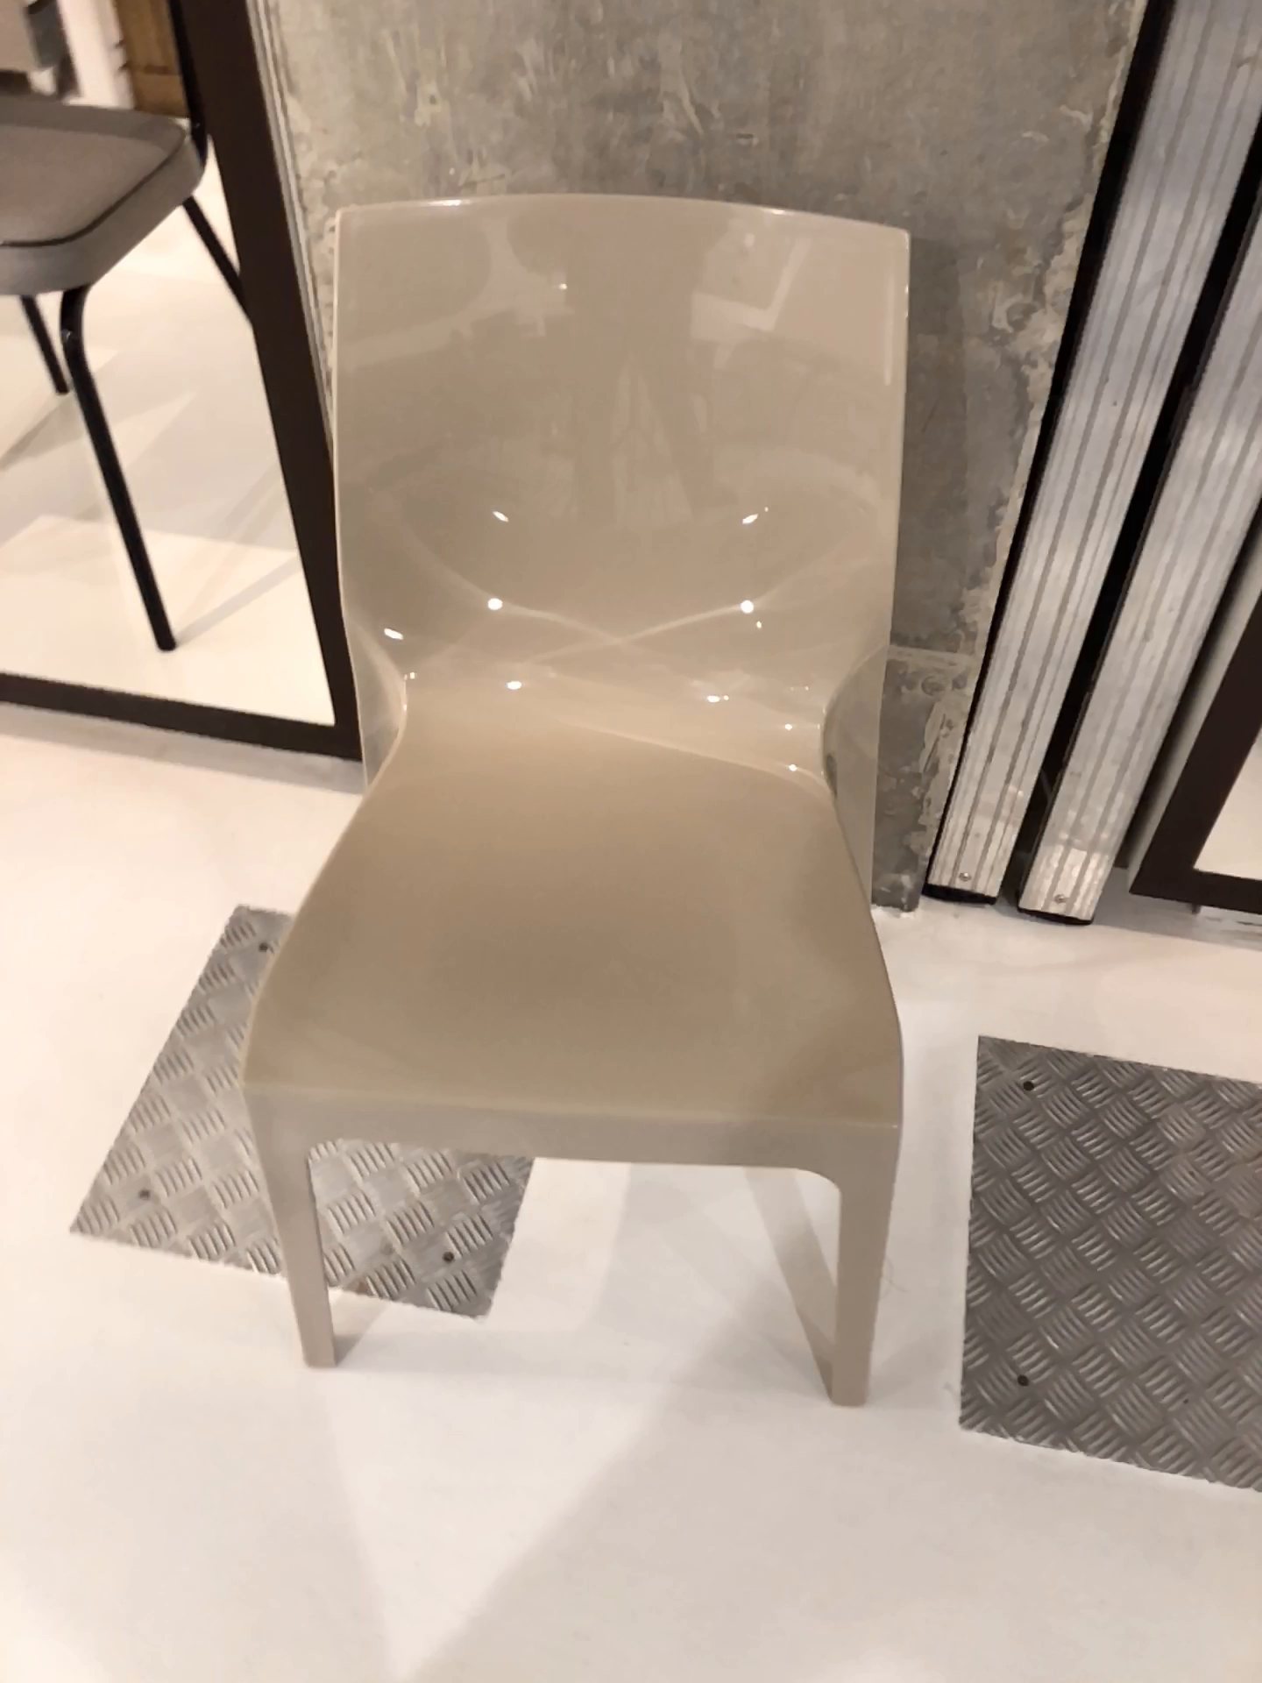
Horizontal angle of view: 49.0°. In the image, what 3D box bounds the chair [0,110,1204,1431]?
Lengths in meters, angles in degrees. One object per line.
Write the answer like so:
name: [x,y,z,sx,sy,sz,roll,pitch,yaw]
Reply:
chair: [-0.026,-0.003,1.065,0.550,0.824,0.564,4,48,2]
